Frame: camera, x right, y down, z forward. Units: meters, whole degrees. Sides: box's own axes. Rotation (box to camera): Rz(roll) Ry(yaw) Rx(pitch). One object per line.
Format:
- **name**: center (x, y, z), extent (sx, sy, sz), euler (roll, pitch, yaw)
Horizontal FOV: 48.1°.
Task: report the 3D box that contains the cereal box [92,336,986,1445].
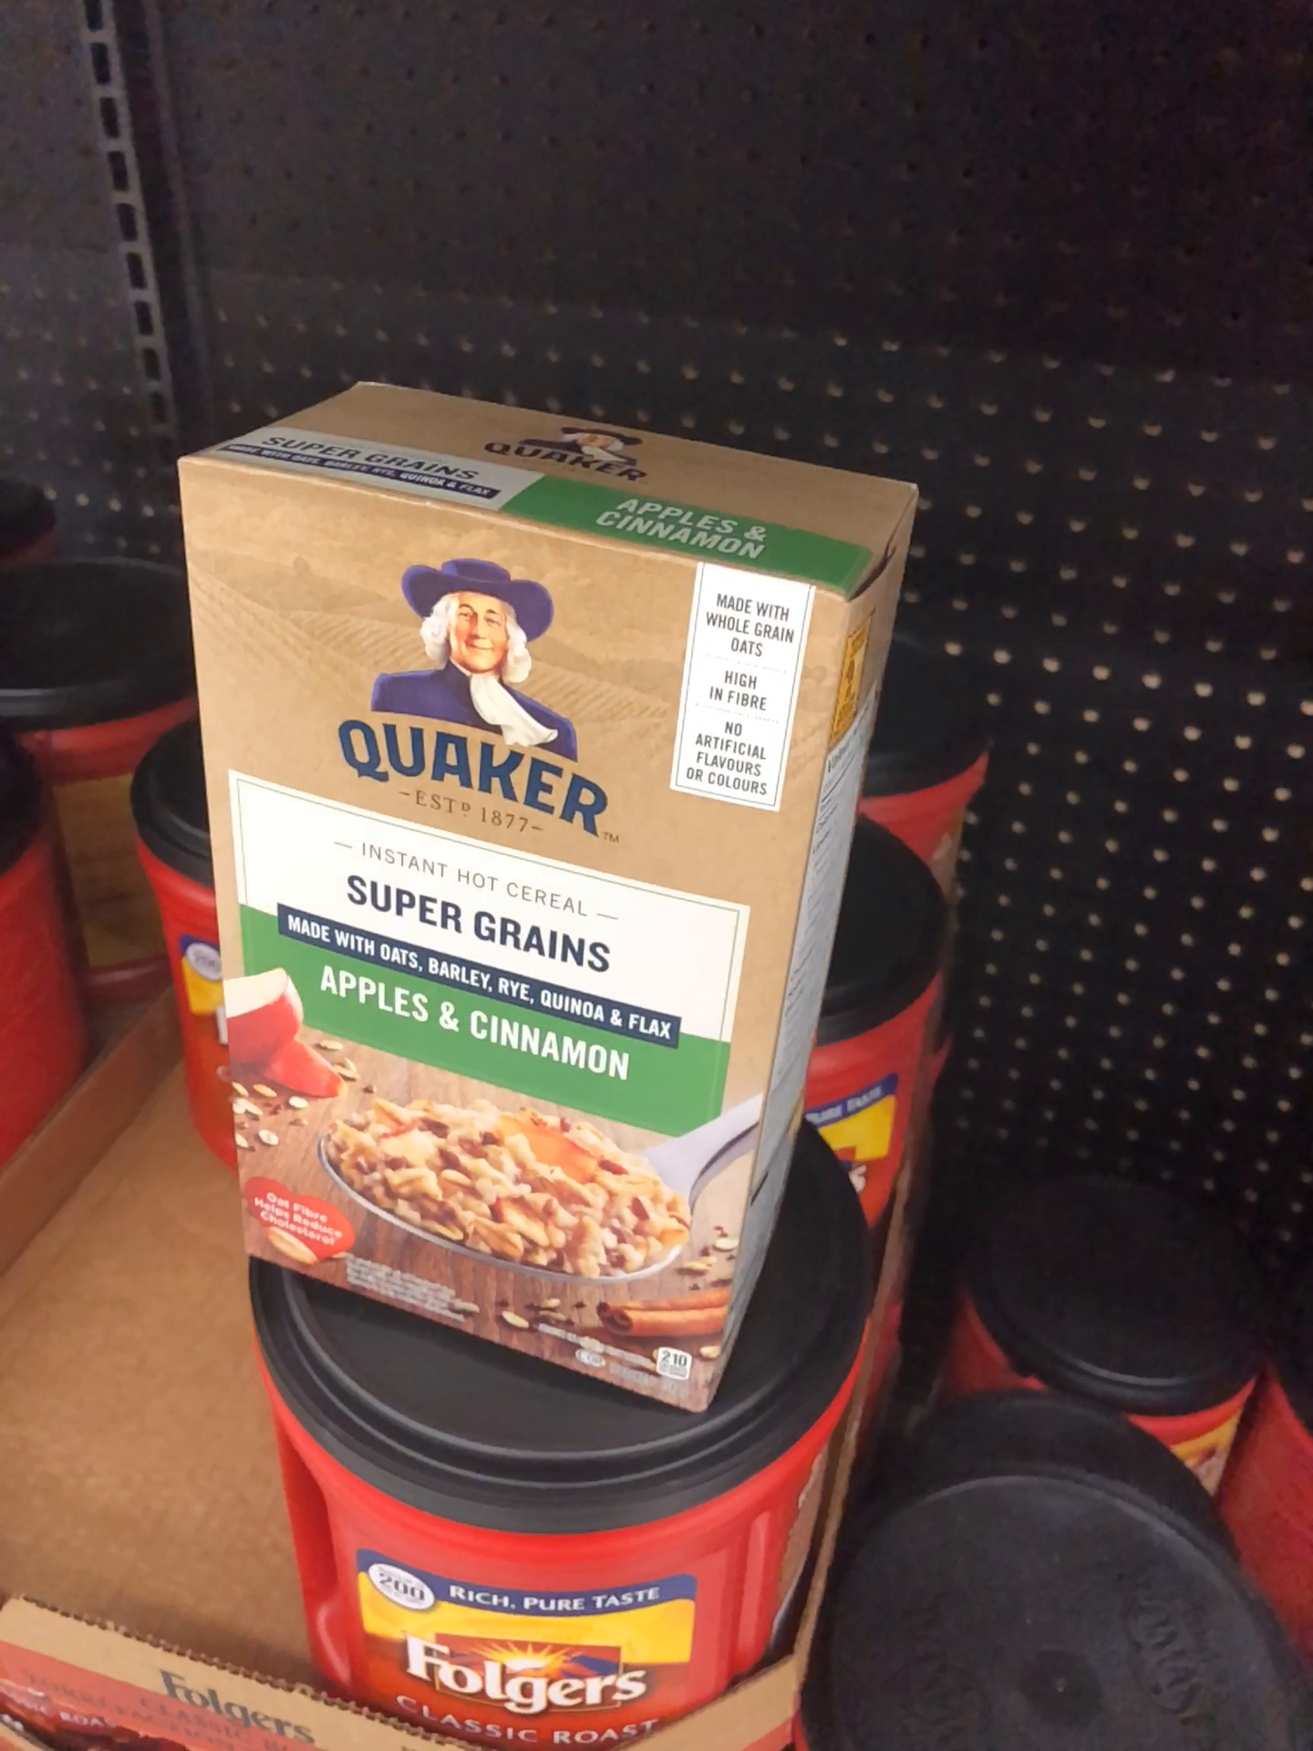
- **cereal box**: center (-0.025, 0.007, 0.305), extent (0.140, 0.199, 0.060), euler (15, 35, 16)
